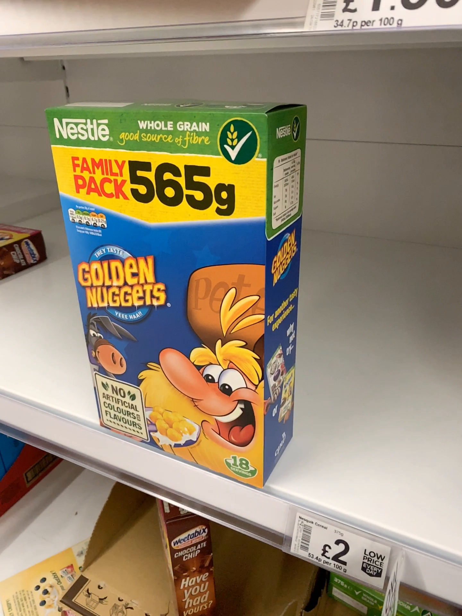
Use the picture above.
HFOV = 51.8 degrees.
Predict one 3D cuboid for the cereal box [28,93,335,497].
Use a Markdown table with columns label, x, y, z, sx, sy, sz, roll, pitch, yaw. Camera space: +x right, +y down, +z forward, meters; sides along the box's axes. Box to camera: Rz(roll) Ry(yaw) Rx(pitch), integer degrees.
| label | x | y | z | sx | sy | sz | roll | pitch | yaw |
| --- | --- | --- | --- | --- | --- | --- | --- | --- | --- |
| cereal box | -0.037 | -0.017 | 0.417 | 0.210 | 0.307 | 0.091 | 13 | 29 | 26 |
